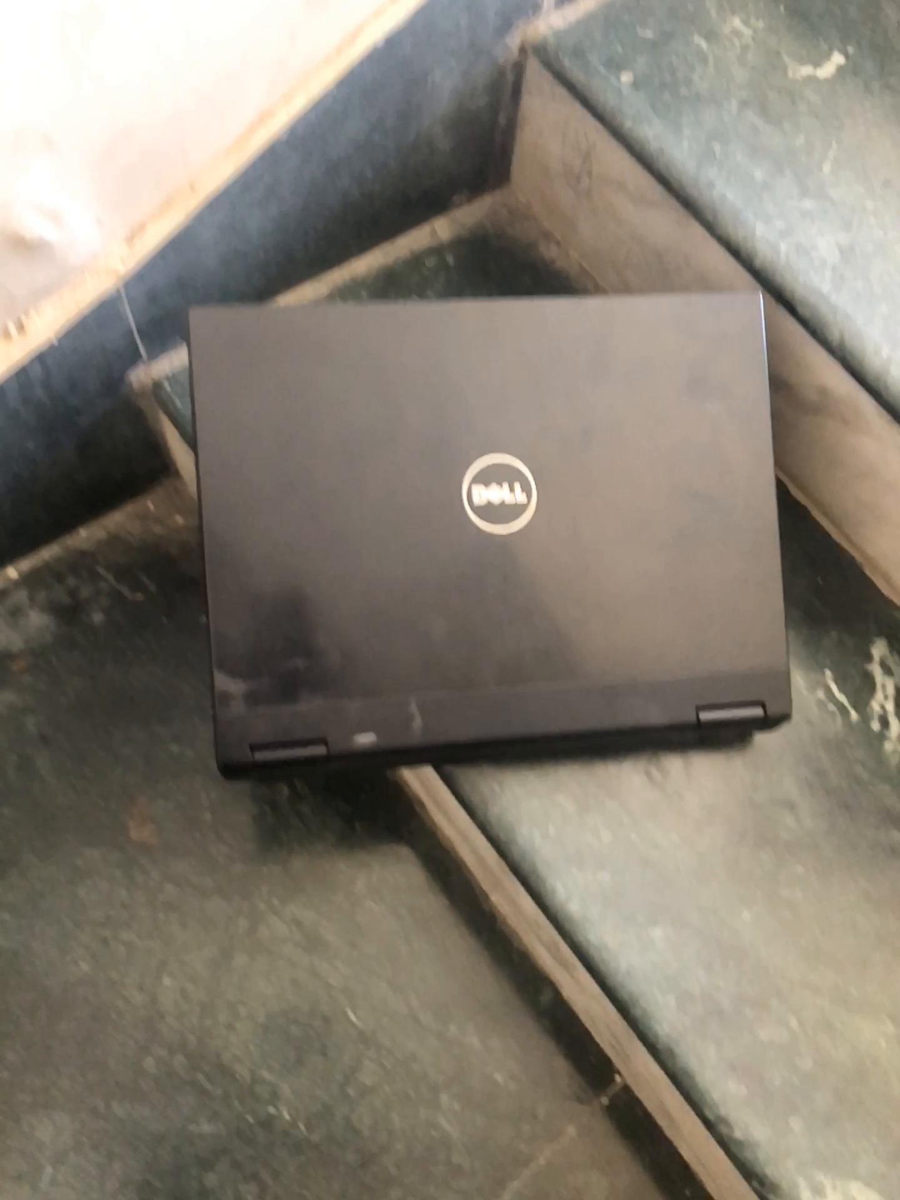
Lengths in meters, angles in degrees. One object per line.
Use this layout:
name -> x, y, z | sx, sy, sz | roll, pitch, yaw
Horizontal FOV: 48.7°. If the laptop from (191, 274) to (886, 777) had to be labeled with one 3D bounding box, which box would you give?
laptop -> 0.030, -0.045, 0.522 | 0.302, 0.095, 0.233 | -4, 68, -9
